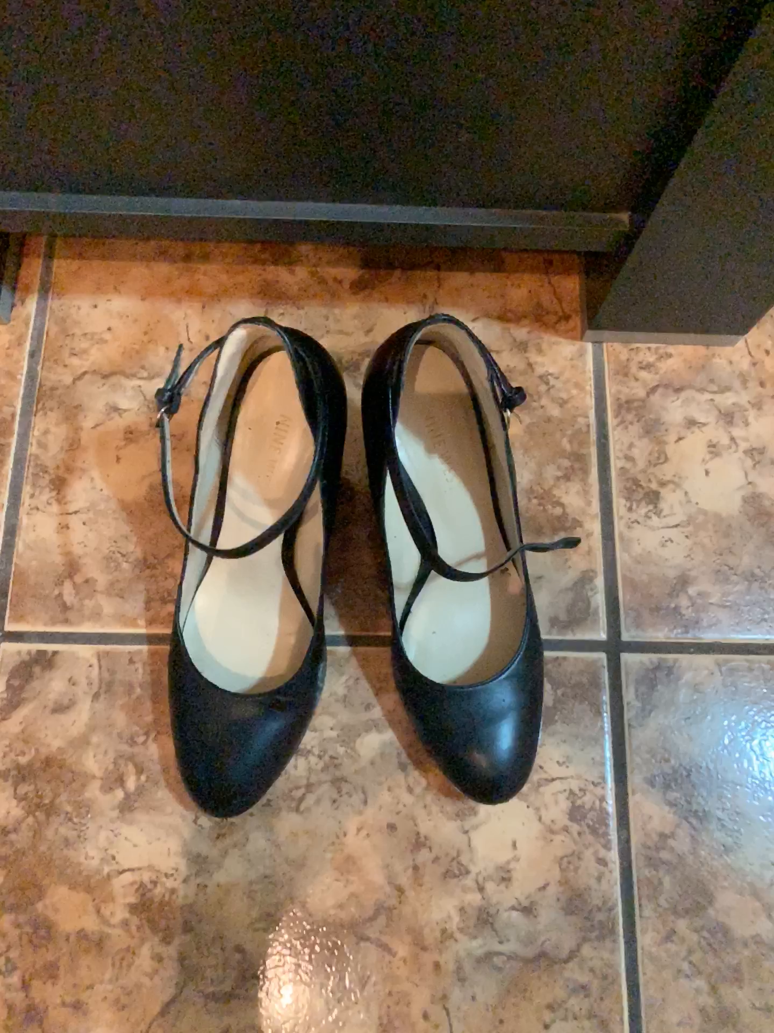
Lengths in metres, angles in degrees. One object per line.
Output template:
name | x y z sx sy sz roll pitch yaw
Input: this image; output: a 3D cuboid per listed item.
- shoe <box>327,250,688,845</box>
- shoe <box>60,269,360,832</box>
shoe | 0.036 0.018 0.355 0.087 0.140 0.209 -10 75 -5
shoe | -0.061 0.024 0.360 0.079 0.160 0.200 5 75 0
